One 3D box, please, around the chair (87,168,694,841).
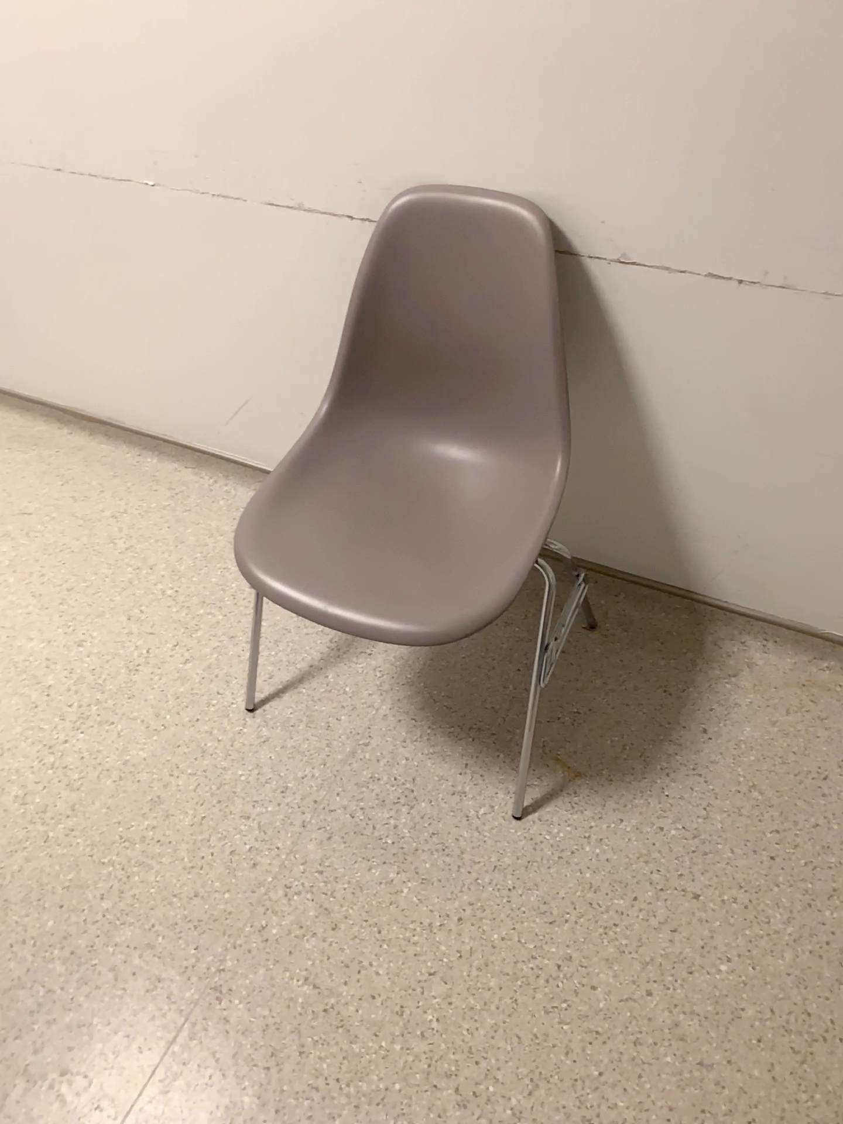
[{"bbox_3d":[0.012,-0.084,1.355,0.582,0.783,0.544,17,51,21],"label":"chair"}]
